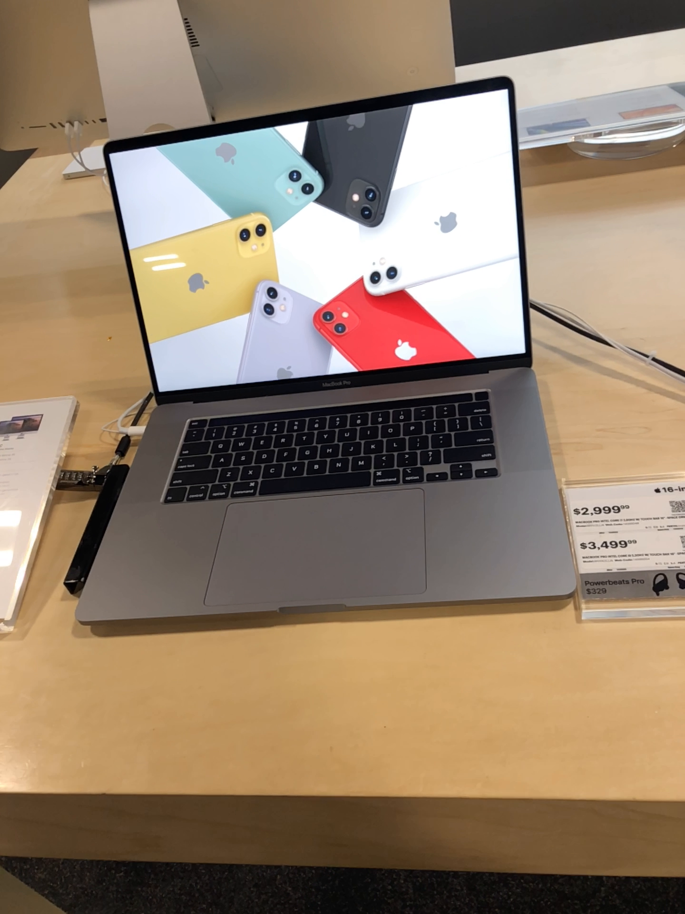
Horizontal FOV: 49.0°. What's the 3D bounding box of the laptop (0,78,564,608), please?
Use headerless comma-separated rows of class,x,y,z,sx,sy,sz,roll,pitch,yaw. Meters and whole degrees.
laptop,-0.035,-0.093,0.574,0.336,0.204,0.350,-5,44,12
